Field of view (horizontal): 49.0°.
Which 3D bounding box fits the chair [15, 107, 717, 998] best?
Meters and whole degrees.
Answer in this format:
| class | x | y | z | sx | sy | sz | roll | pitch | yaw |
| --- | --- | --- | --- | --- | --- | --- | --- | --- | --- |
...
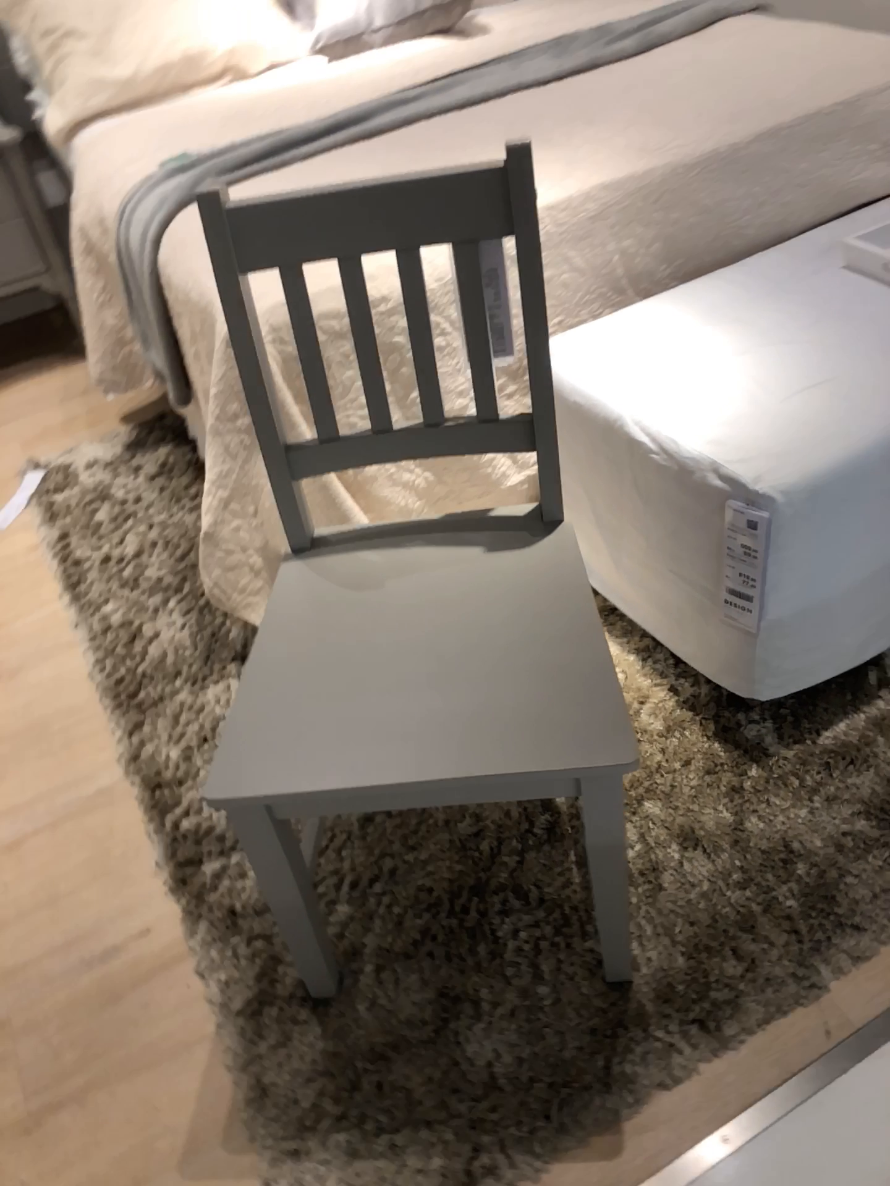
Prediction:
| class | x | y | z | sx | sy | sz | roll | pitch | yaw |
| --- | --- | --- | --- | --- | --- | --- | --- | --- | --- |
| chair | -0.010 | -0.011 | 1.126 | 0.480 | 0.824 | 0.534 | -6 | 40 | 4 |
